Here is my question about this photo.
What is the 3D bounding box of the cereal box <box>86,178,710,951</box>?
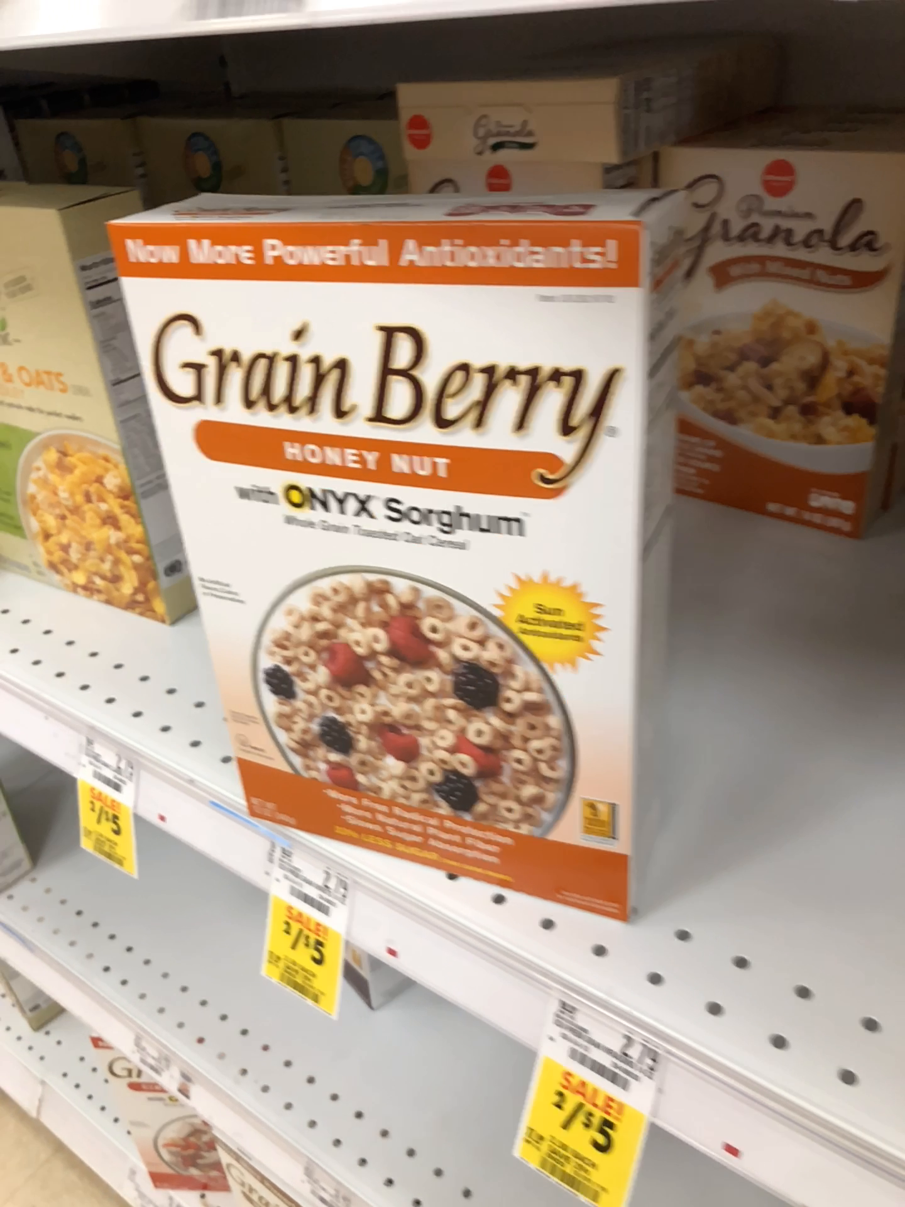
[{"bbox_3d":[-0.010,-0.011,0.413,0.200,0.289,0.070,9,34,23],"label":"cereal box"}]
